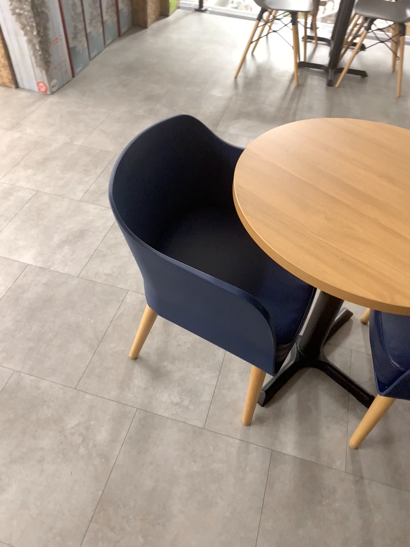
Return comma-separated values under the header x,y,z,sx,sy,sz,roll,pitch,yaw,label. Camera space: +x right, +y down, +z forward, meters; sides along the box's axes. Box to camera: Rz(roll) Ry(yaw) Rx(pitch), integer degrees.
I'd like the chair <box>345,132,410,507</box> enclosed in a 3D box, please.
x,y,z,sx,sy,sz,roll,pitch,yaw,label
0.782,0.142,1.133,0.557,0.735,0.566,14,48,8,chair

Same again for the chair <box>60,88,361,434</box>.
x,y,z,sx,sy,sz,roll,pitch,yaw,label
0.036,-0.028,1.271,0.547,0.735,0.566,19,49,13,chair
